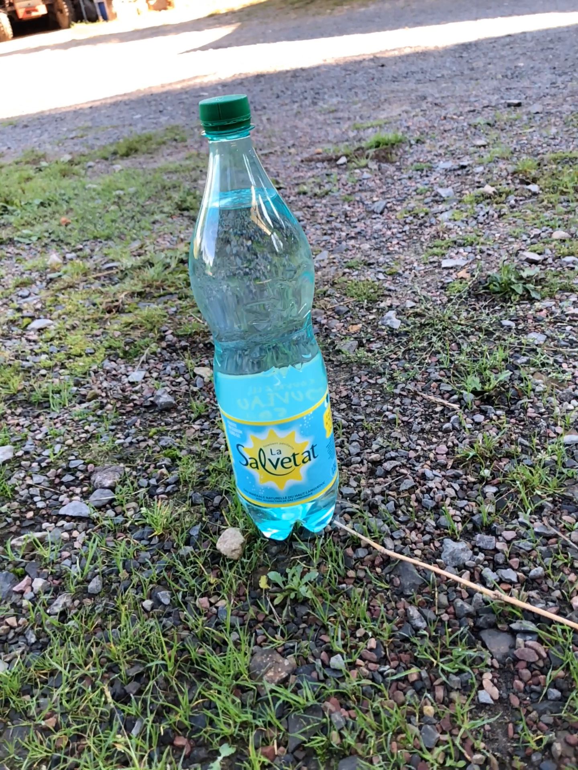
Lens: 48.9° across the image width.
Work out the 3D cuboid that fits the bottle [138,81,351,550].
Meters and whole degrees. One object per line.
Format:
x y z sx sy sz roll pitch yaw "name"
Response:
-0.015 -0.036 0.437 0.090 0.298 0.101 -5 29 4 "bottle"
